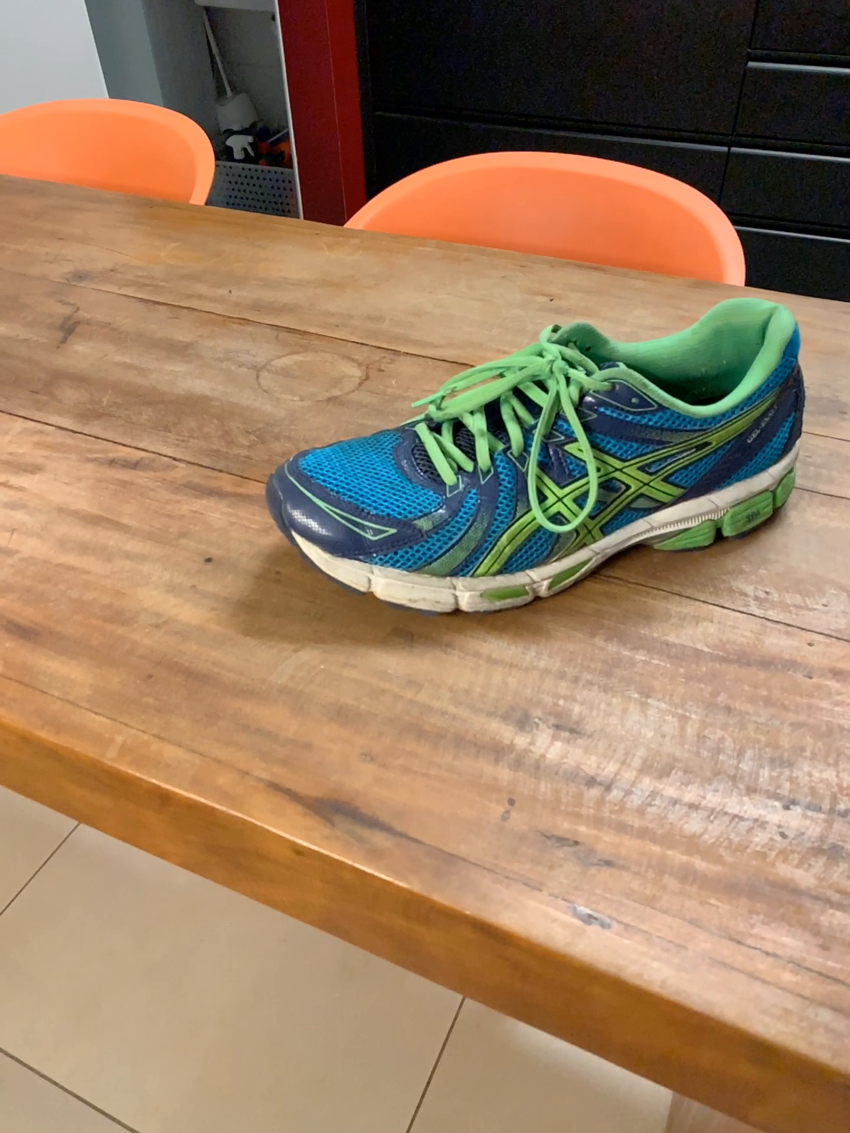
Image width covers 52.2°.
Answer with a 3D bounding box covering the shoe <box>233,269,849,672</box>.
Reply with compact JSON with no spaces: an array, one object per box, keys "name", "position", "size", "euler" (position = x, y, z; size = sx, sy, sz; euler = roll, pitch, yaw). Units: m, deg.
[{"name":"shoe","position":[0.065,-0.057,0.463],"size":[0.300,0.119,0.111],"euler":[-12,44,-10]}]
